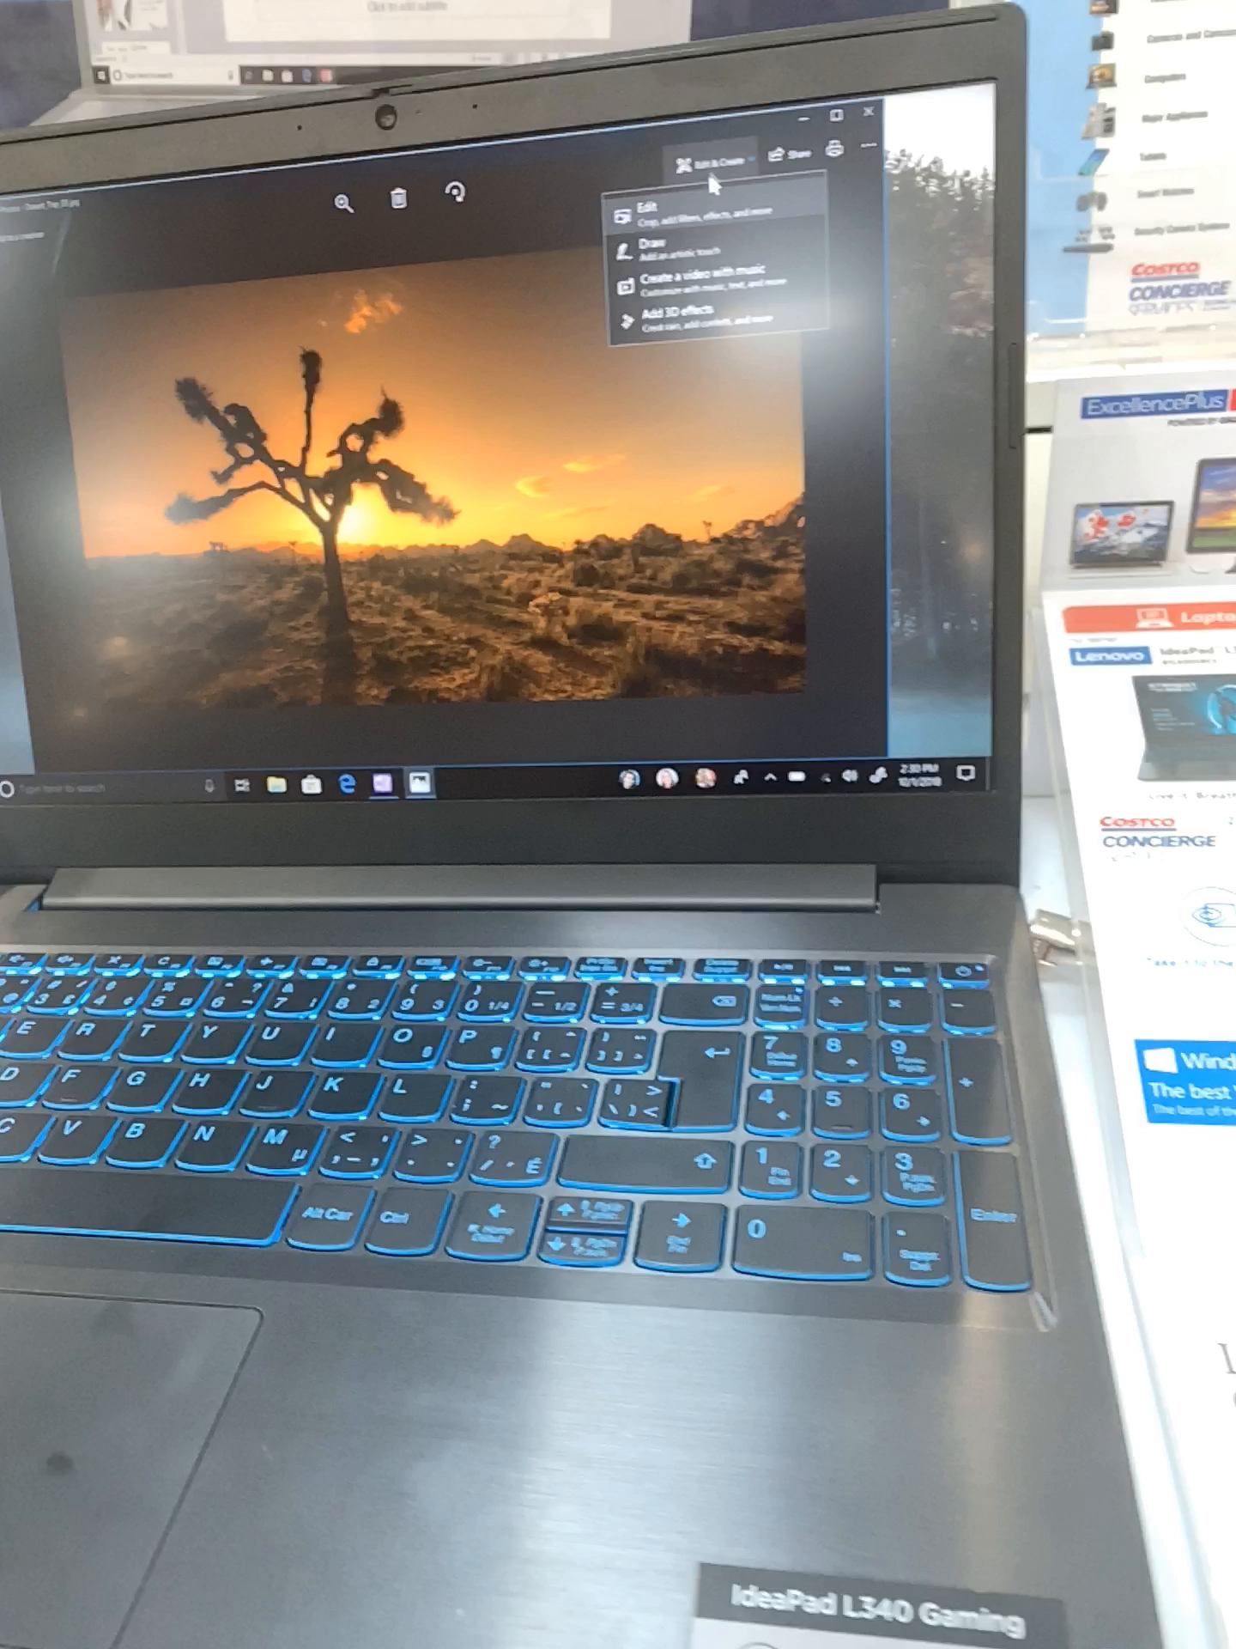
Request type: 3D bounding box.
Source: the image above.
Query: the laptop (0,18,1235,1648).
[{"bbox_3d":[-0.067,-0.031,0.285,0.340,0.214,0.330,0,32,10],"label":"laptop"}]
